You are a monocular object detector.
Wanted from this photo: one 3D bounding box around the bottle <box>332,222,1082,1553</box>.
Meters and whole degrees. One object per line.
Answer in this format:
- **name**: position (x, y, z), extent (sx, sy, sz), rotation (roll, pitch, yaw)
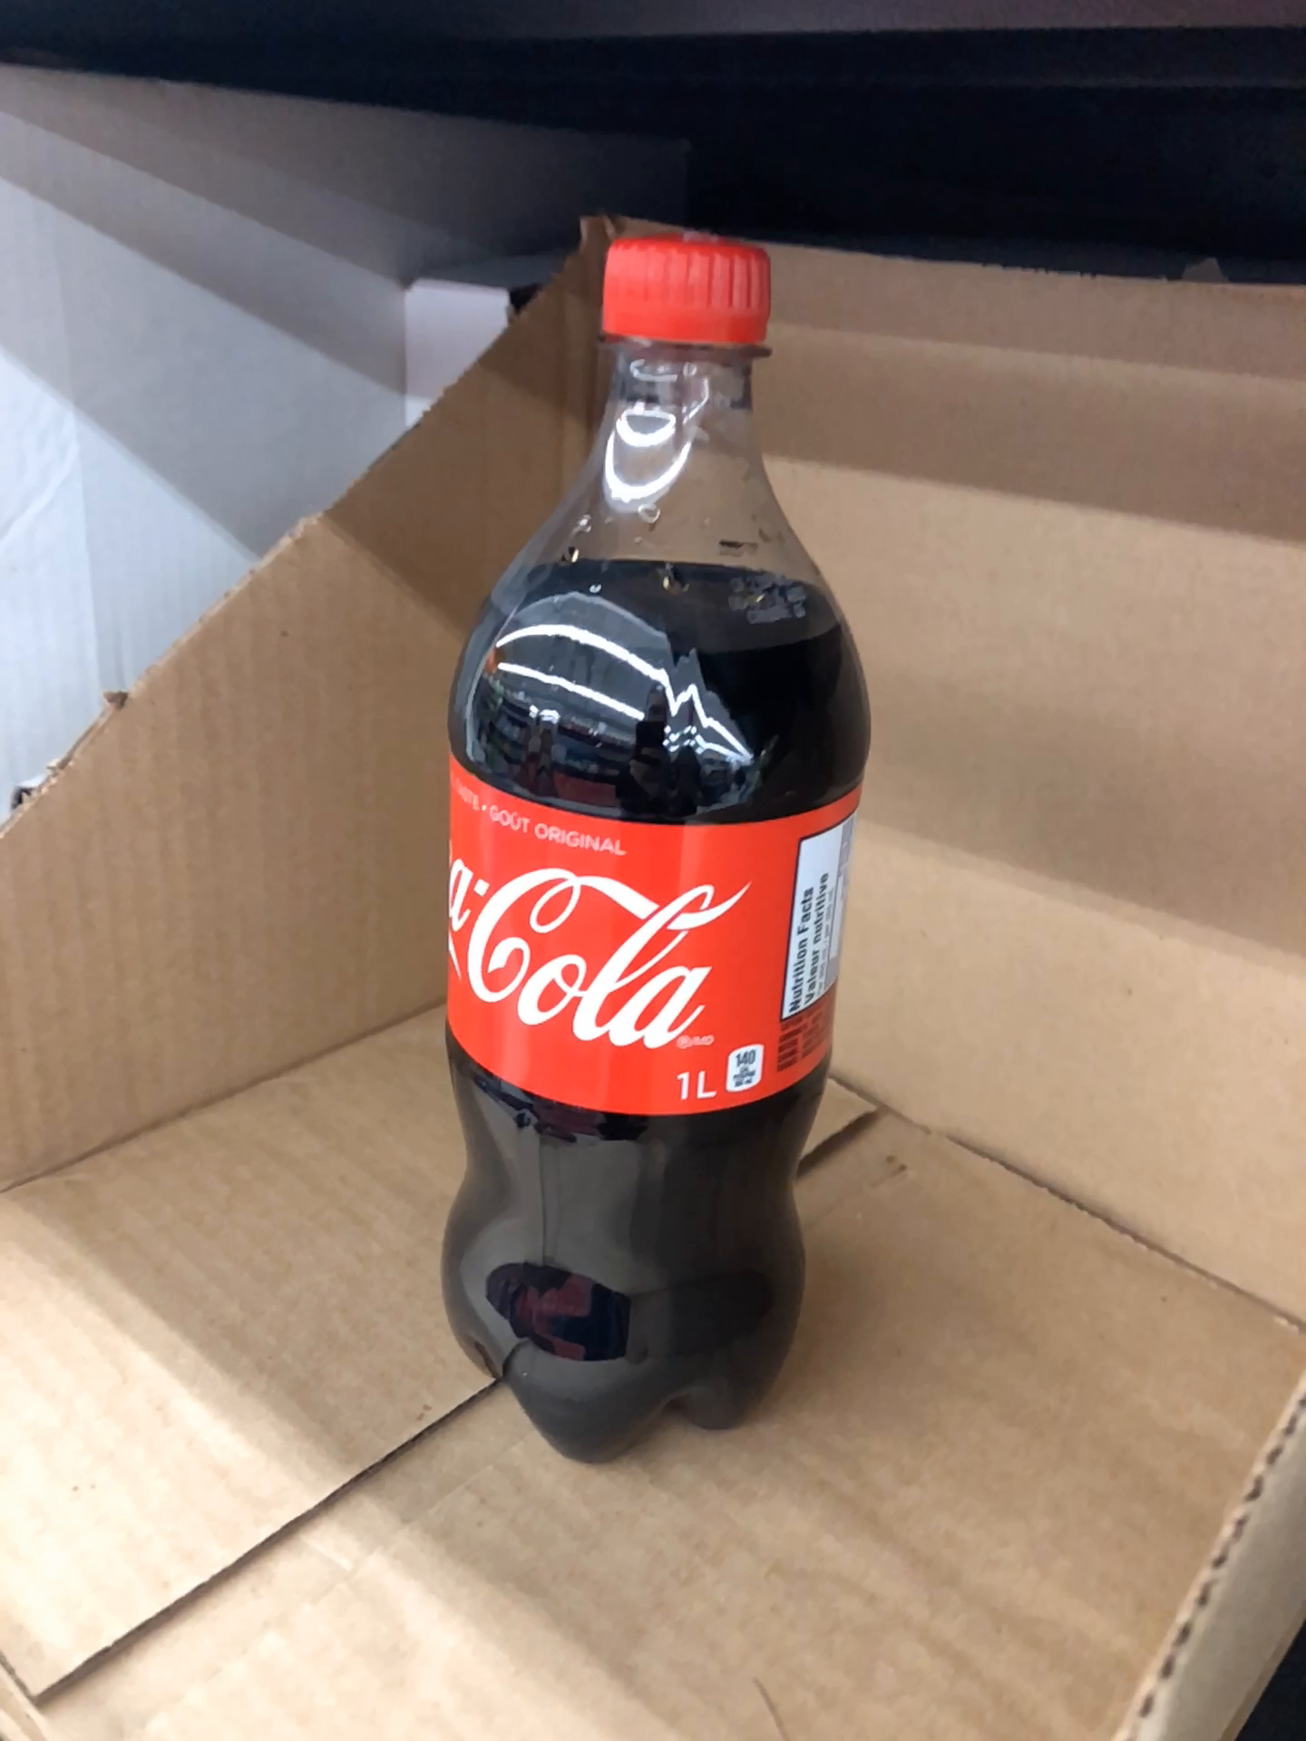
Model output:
- **bottle**: position (0.002, 0.001, 0.309), extent (0.090, 0.248, 0.100), rotation (-16, 31, -35)
